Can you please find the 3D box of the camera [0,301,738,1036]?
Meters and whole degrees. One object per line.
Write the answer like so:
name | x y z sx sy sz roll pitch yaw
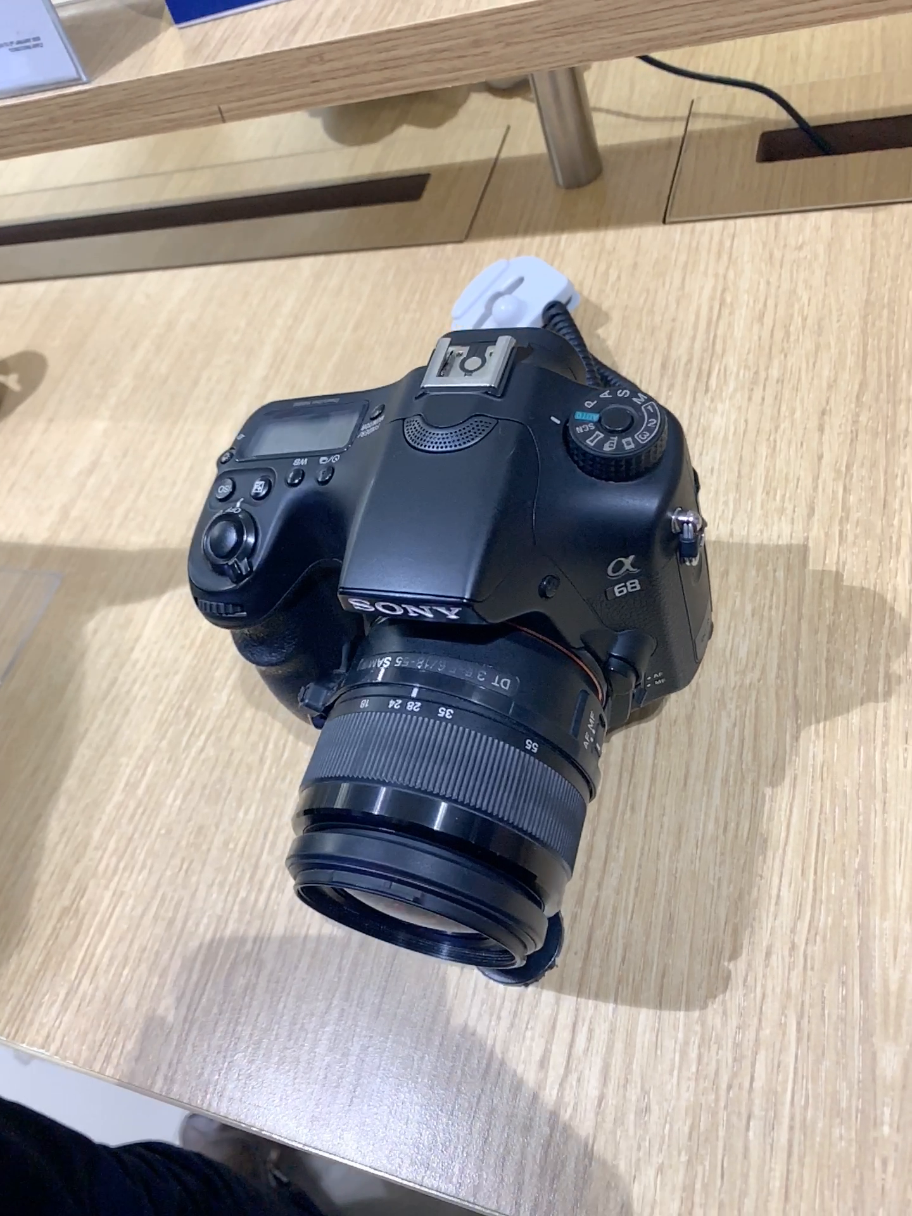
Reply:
camera | -0.006 0.014 0.238 0.130 0.100 0.134 3 59 23
